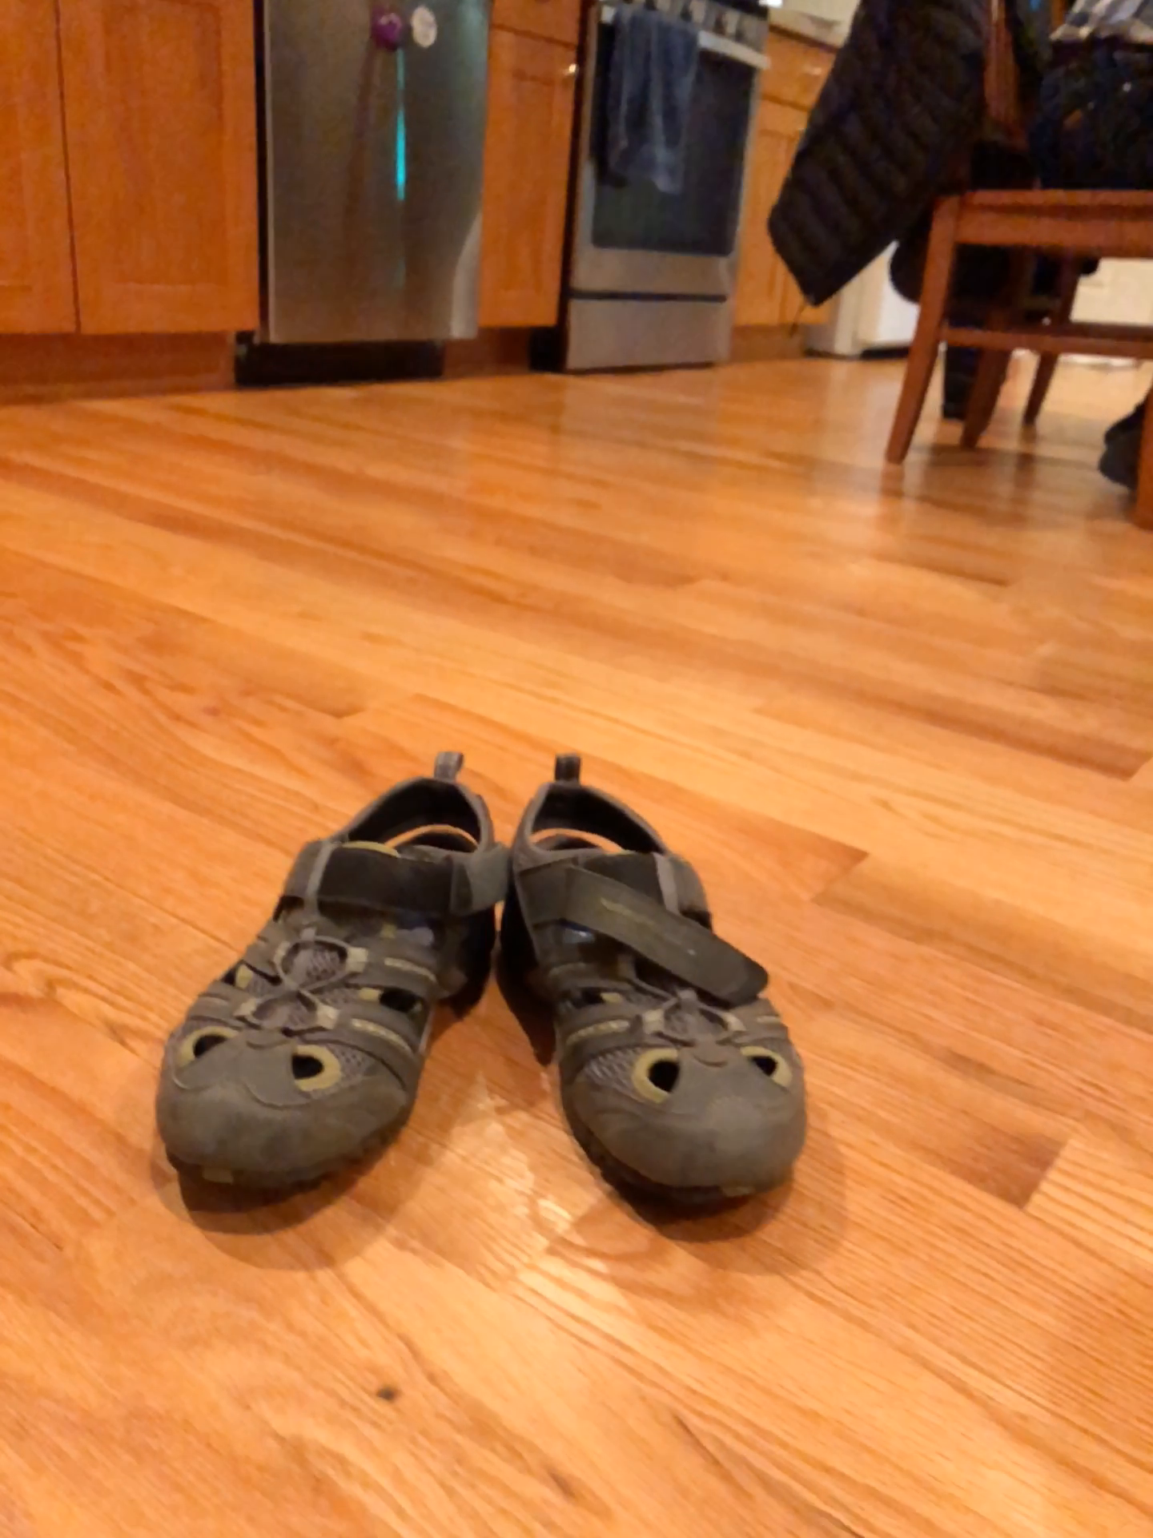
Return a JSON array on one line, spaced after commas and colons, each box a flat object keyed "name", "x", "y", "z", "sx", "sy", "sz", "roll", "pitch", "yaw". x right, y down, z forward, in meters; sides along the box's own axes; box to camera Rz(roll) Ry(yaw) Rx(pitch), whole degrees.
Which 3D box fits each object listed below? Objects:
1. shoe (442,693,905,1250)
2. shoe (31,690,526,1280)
[{"name": "shoe", "x": 0.021, "y": 0.064, "z": 0.544, "sx": 0.100, "sy": 0.113, "sz": 0.246, "roll": -3, "pitch": 24, "yaw": -19}, {"name": "shoe", "x": -0.101, "y": 0.066, "z": 0.522, "sx": 0.100, "sy": 0.113, "sz": 0.246, "roll": 8, "pitch": 23, "yaw": 9}]
